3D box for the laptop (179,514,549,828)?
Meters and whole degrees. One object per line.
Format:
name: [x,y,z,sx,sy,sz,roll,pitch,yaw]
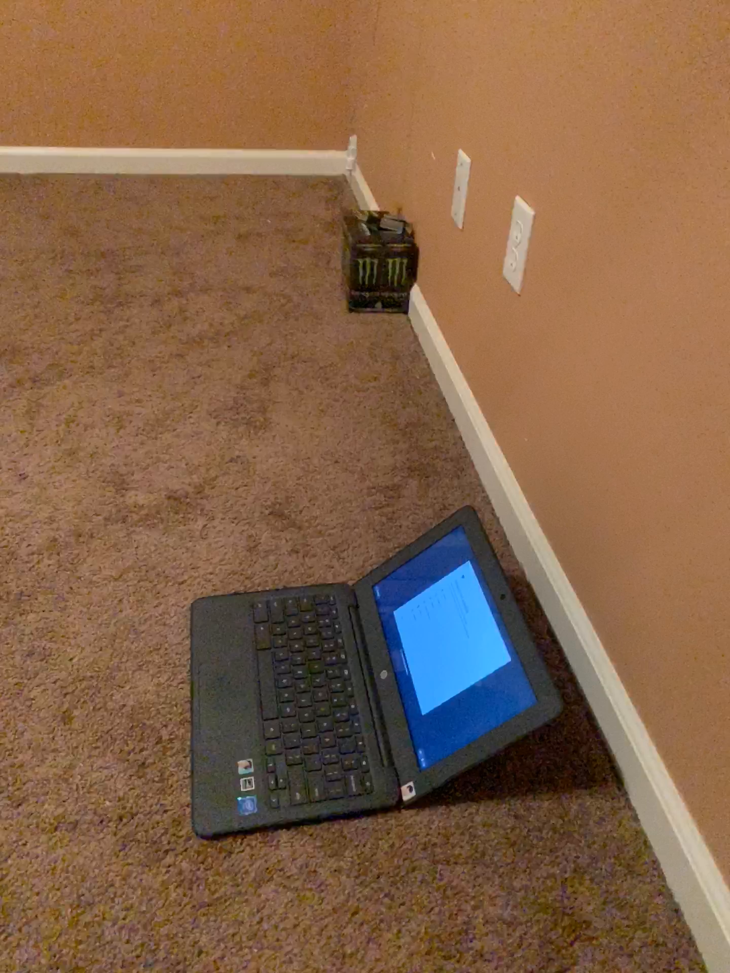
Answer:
laptop: [-0.021,0.179,0.808,0.331,0.124,0.290,-3,38,-9]
